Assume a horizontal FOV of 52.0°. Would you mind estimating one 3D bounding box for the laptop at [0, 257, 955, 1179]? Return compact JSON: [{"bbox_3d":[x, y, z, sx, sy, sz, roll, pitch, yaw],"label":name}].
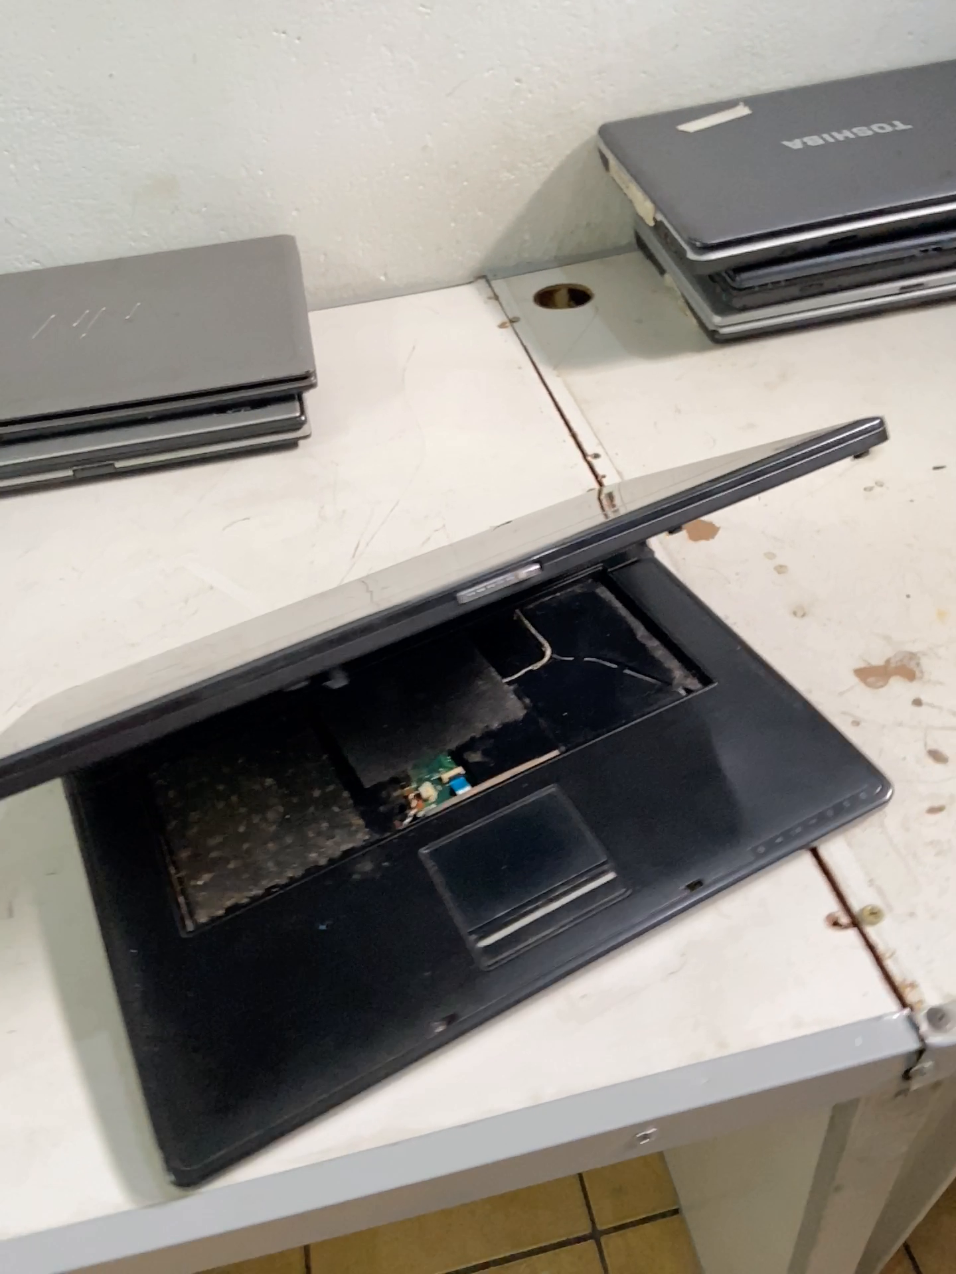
[{"bbox_3d":[-0.029,-0.001,0.445,0.348,0.164,0.261,-23,46,-17],"label":"laptop"}]
